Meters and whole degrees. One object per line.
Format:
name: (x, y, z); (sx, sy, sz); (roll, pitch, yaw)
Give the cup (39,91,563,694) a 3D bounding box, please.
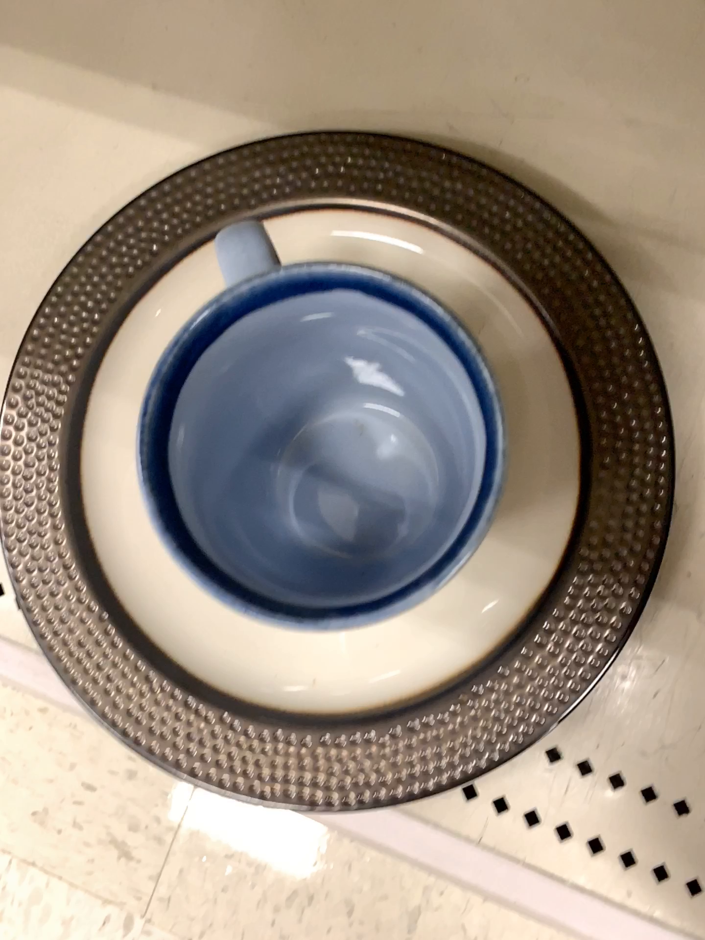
cup: (-0.012, -0.016, 0.230); (0.093, 0.094, 0.127); (-23, 81, 5)
